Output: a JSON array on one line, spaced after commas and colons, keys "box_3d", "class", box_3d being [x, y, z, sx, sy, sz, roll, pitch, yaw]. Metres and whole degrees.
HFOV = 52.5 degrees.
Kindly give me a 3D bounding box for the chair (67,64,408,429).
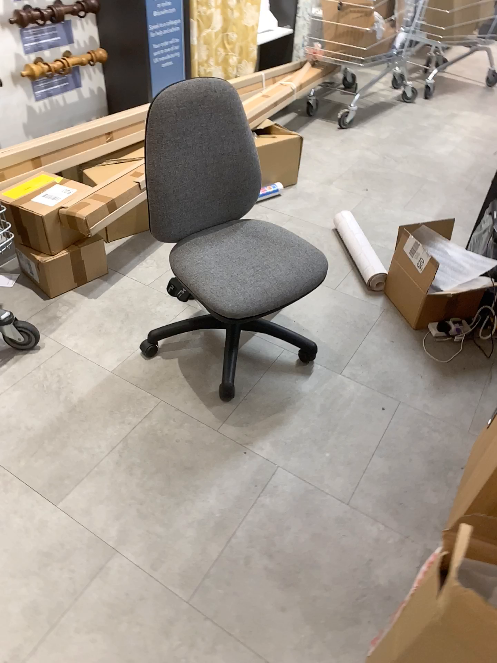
[{"box_3d": [-0.054, -0.291, 1.544, 0.629, 0.750, 0.627, -27, 50, -30], "class": "chair"}]
